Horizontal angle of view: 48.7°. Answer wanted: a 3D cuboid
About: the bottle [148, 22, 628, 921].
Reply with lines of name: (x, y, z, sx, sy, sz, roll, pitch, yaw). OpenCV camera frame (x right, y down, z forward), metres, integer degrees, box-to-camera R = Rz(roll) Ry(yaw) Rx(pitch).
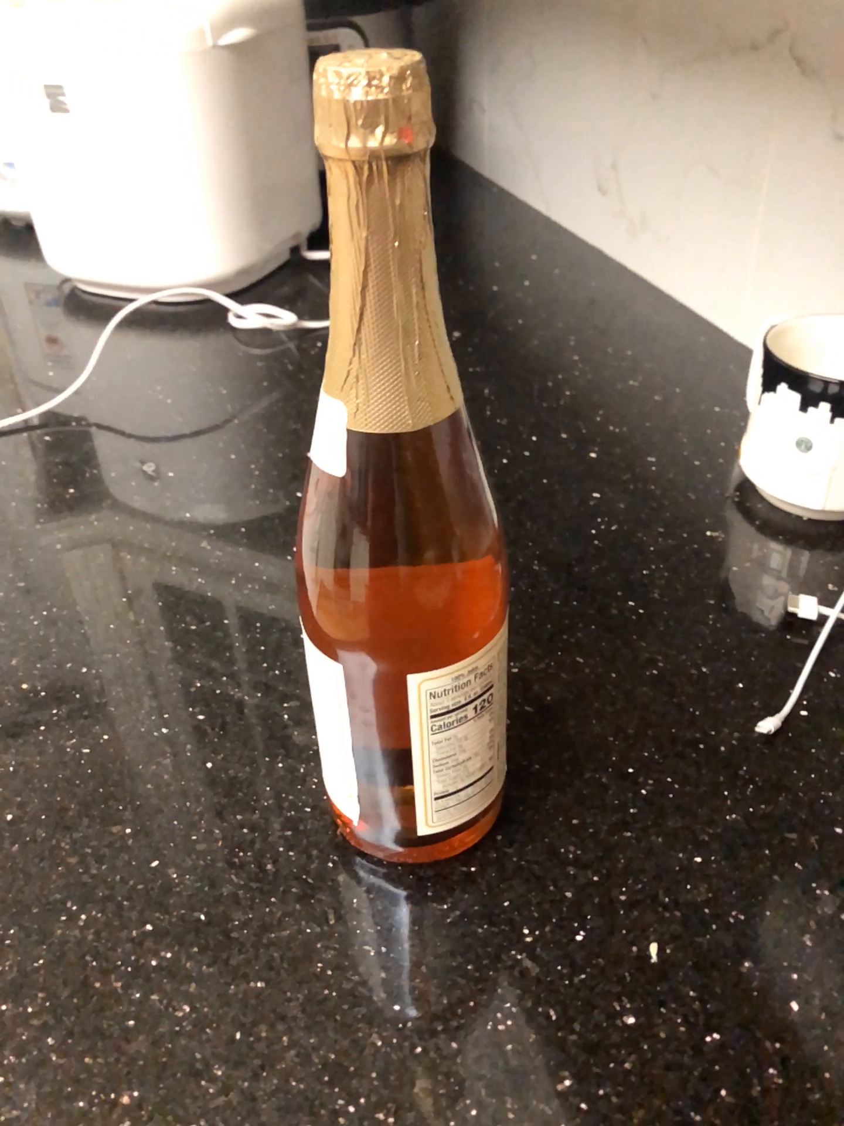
bottle: (-0.002, -0.015, 0.335, 0.090, 0.298, 0.090, -2, 36, 2)
